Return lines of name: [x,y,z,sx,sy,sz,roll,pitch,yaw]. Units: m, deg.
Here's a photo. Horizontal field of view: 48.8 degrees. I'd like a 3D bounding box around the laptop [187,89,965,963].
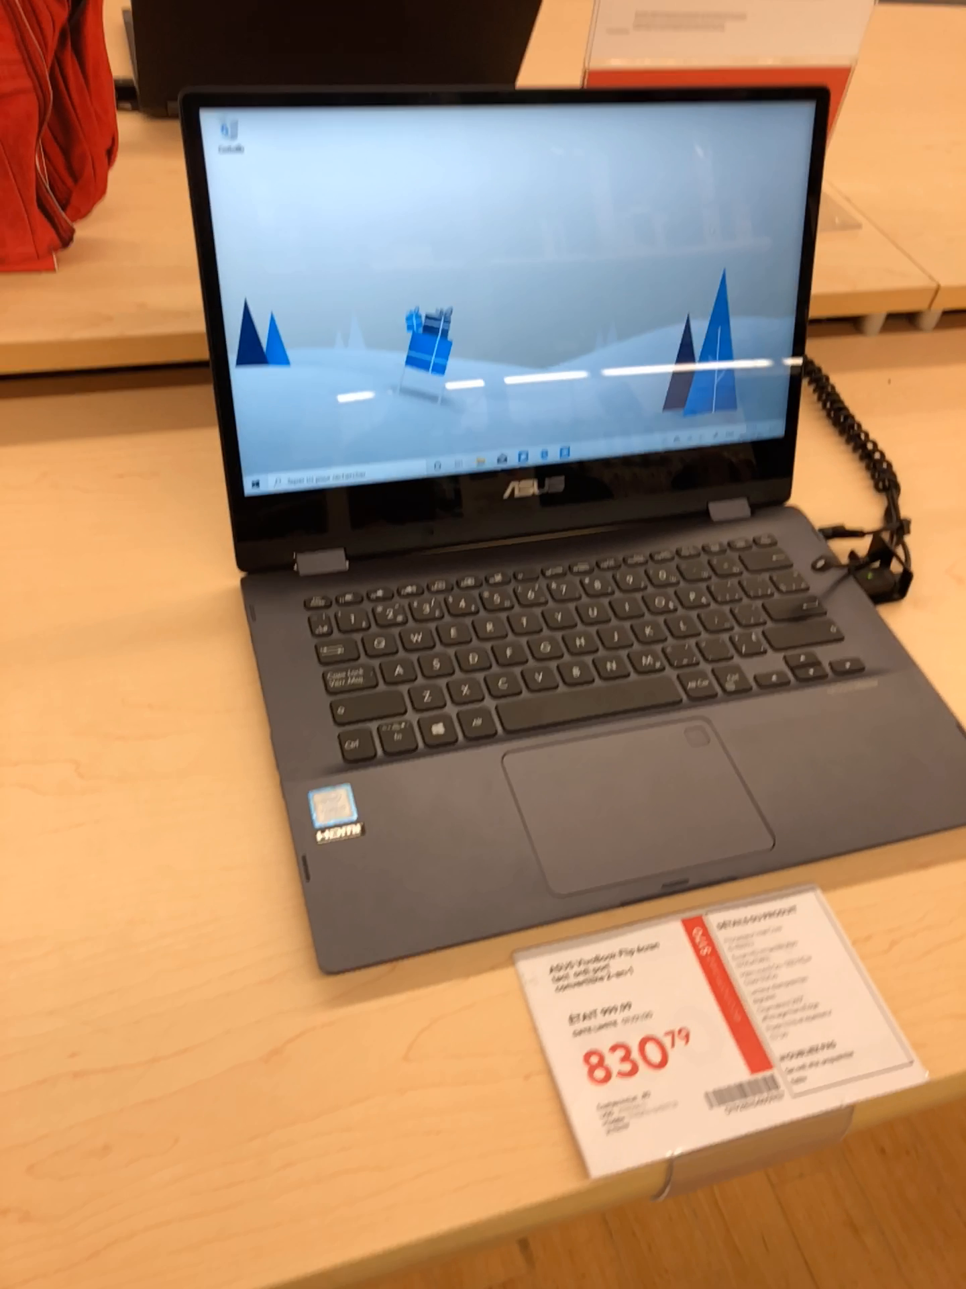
laptop: [0.056,-0.081,0.470,0.313,0.188,0.314,-8,50,-15]
